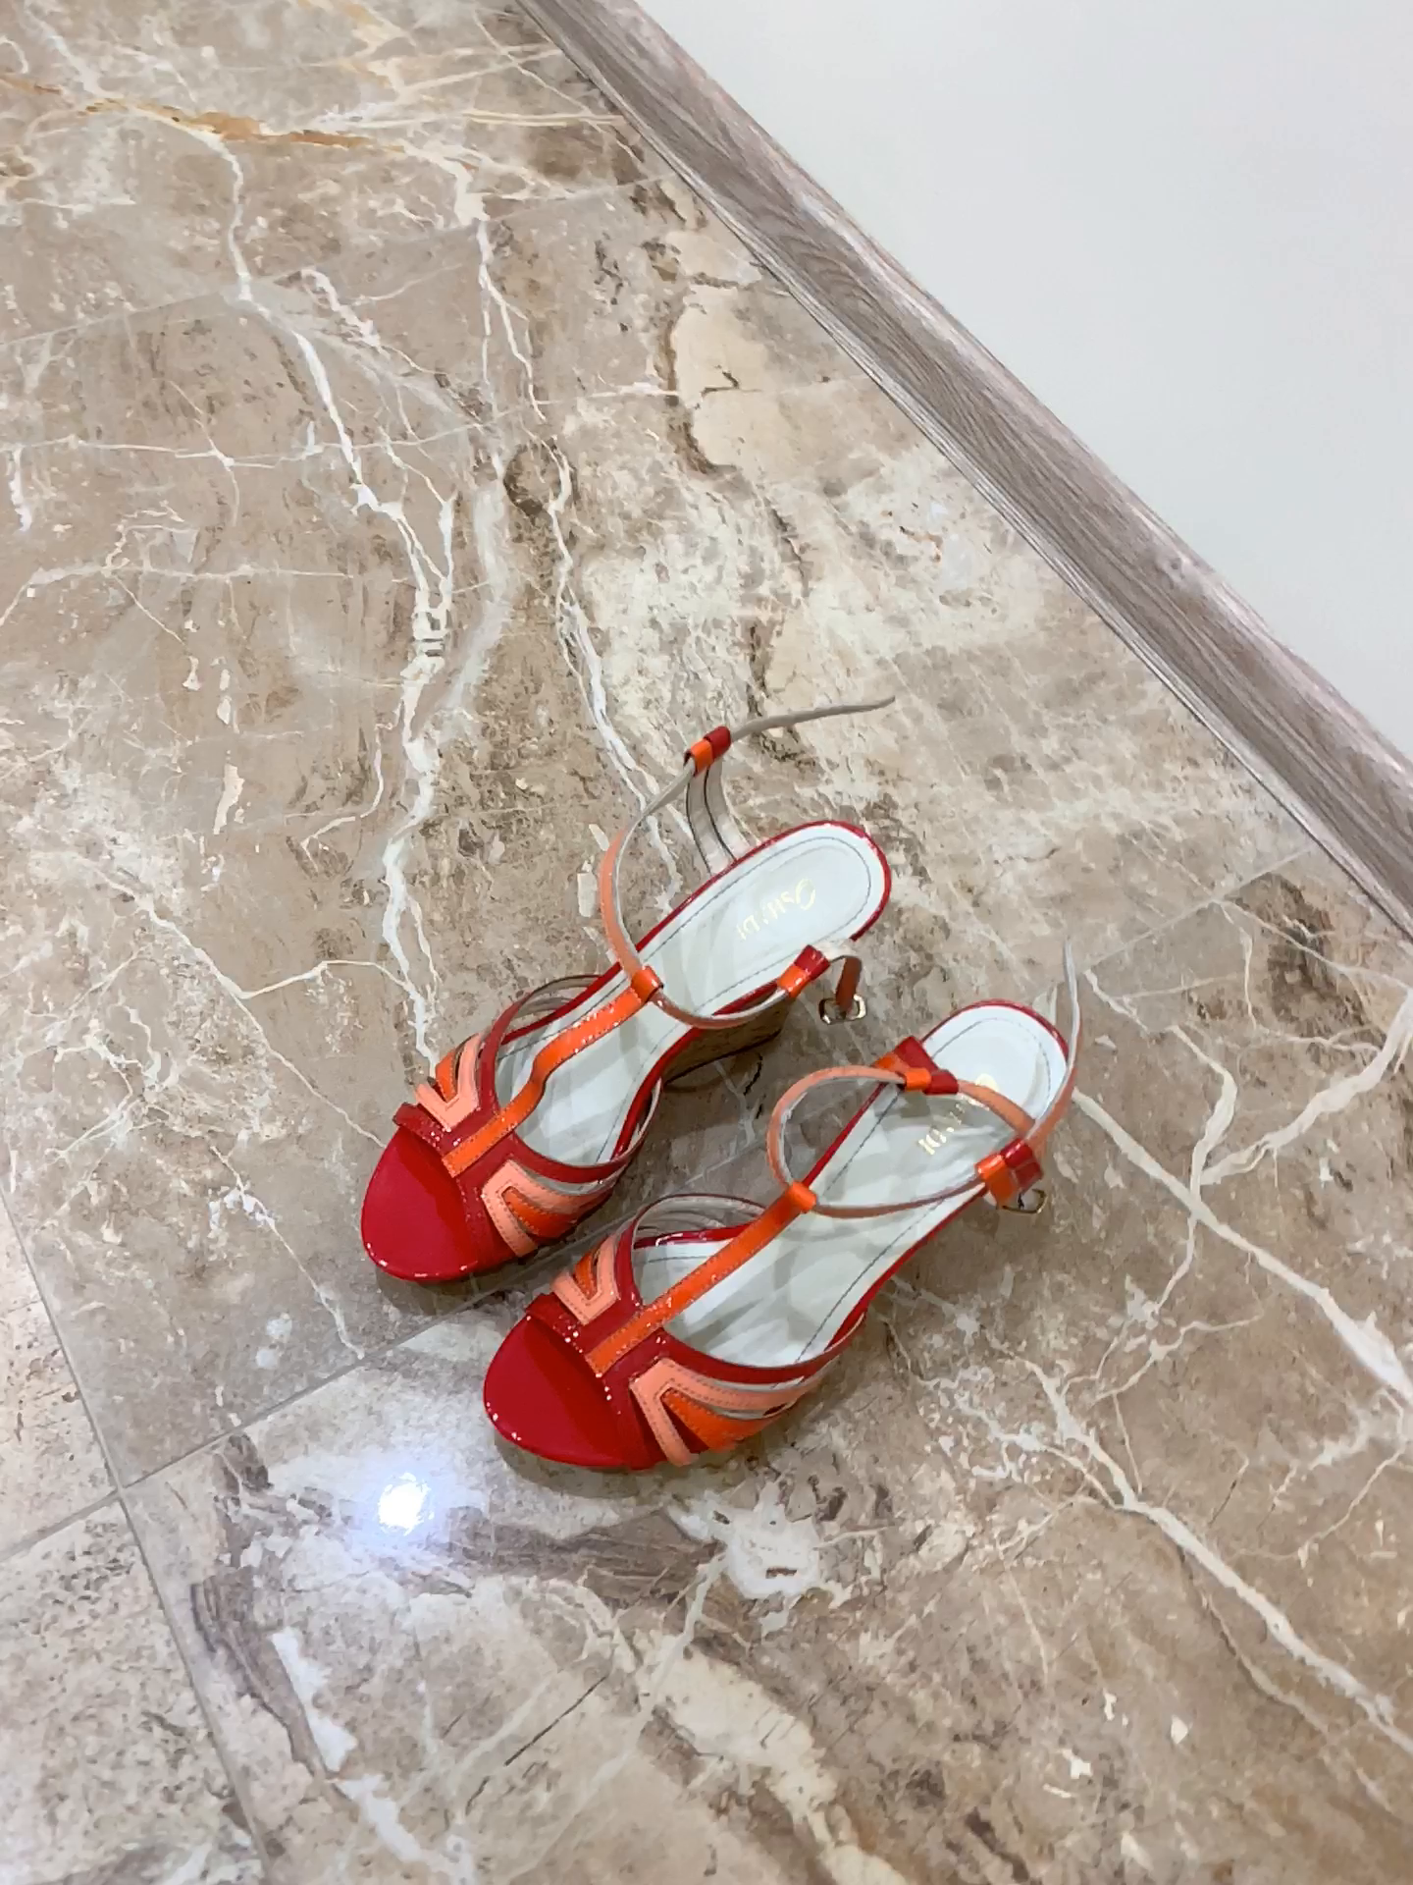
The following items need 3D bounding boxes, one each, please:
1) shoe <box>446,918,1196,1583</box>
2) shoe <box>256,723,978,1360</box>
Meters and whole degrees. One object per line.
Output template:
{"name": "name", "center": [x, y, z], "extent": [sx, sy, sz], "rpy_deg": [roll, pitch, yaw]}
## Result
{"name": "shoe", "center": [0.033, 0.102, 0.479], "extent": [0.218, 0.130, 0.080], "rpy_deg": [-28, 66, -21]}
{"name": "shoe", "center": [-0.029, 0.037, 0.517], "extent": [0.218, 0.140, 0.083], "rpy_deg": [-28, 66, -21]}
